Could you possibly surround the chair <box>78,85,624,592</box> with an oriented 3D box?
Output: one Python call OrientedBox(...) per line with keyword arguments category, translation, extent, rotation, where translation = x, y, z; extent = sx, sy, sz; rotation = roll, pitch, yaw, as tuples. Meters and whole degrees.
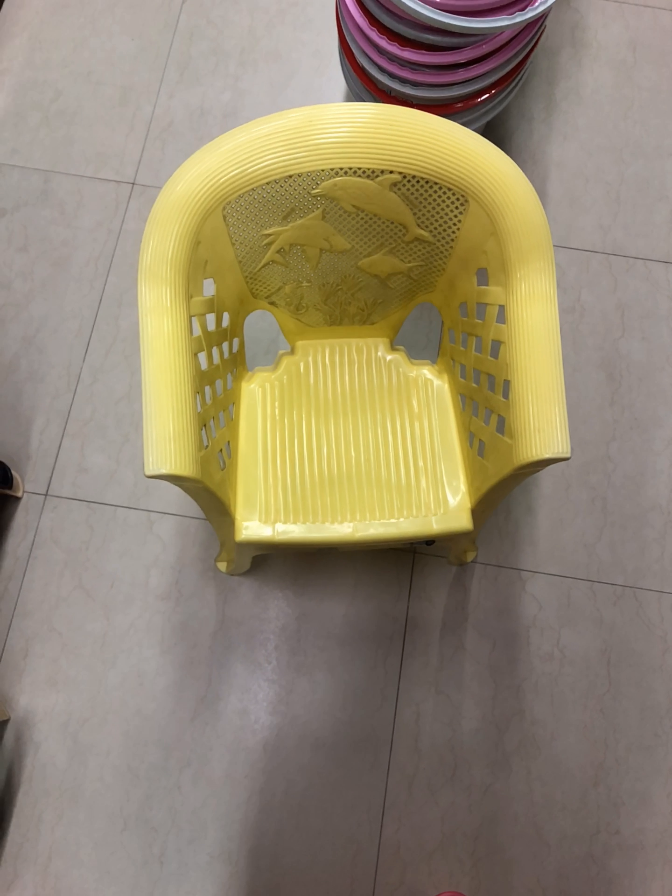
OrientedBox(category="chair", translation=(0.003, -0.093, 0.897), extent=(0.470, 0.399, 0.471), rotation=(-2, 73, -2))
